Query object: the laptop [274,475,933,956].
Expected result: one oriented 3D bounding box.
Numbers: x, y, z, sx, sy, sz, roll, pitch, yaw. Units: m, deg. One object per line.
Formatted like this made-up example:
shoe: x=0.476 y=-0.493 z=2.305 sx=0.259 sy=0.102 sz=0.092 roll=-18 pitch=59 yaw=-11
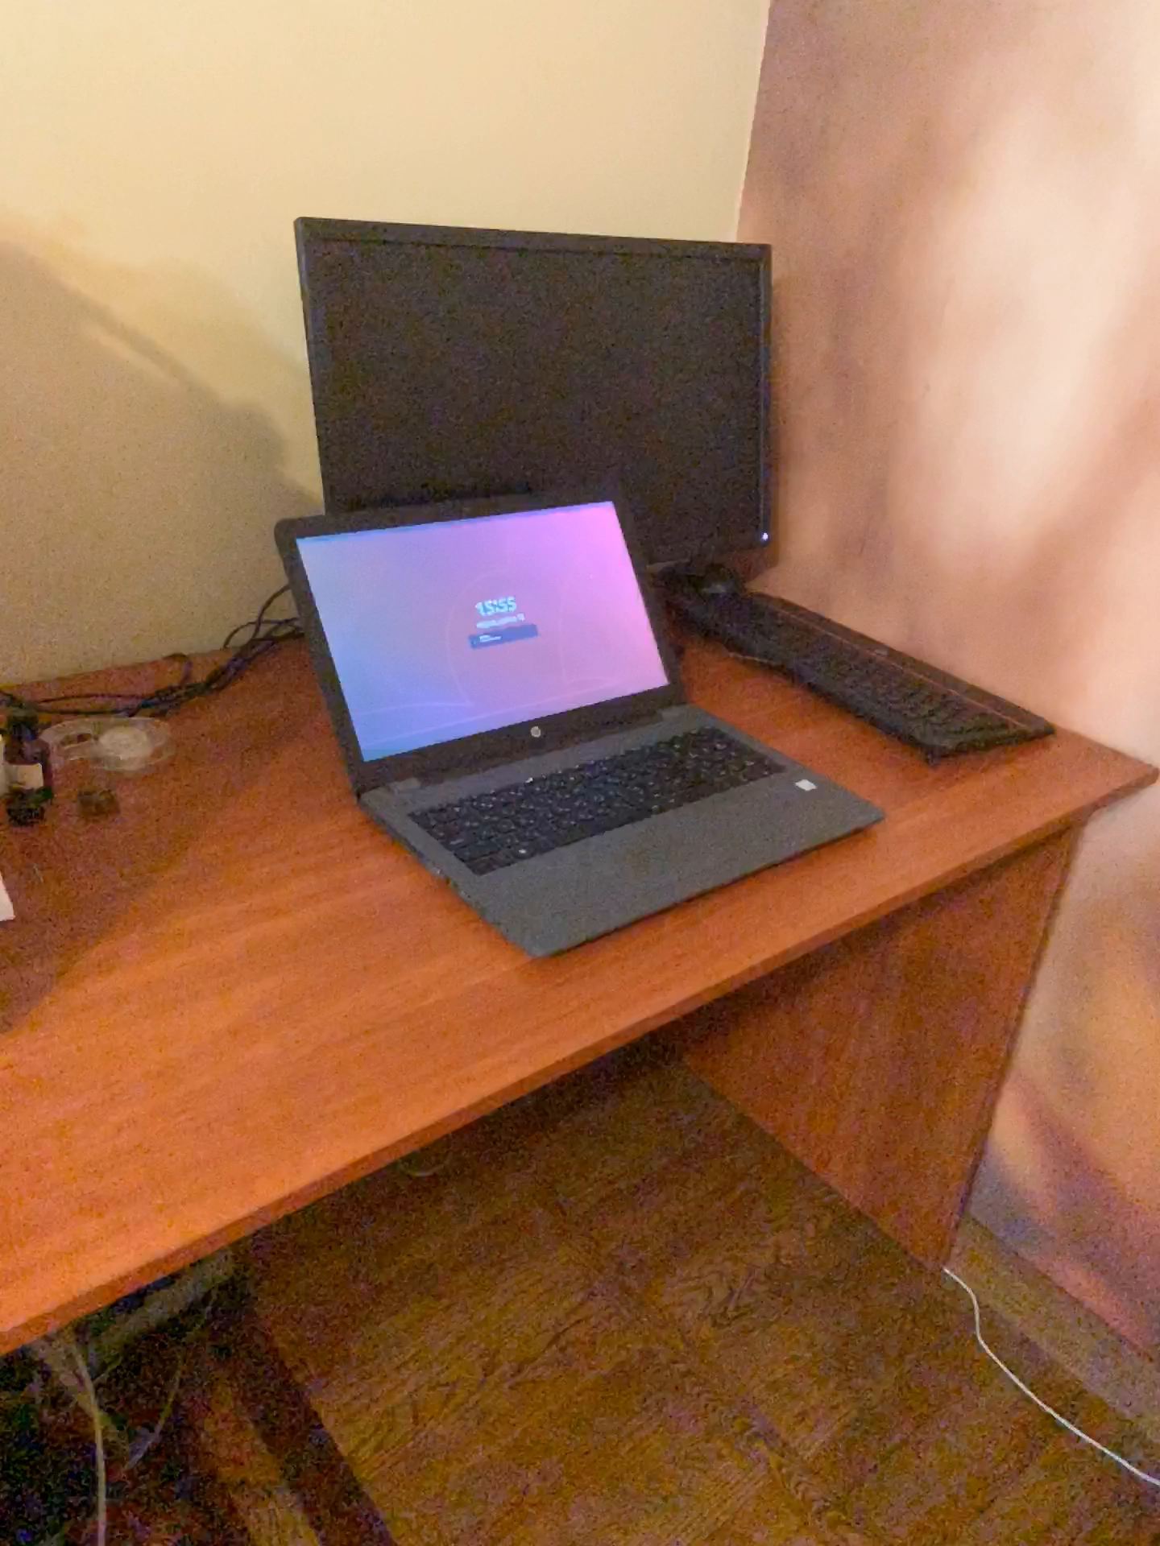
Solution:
laptop: x=0.006 y=-0.086 z=0.963 sx=0.367 sy=0.181 sz=0.375 roll=-17 pitch=36 yaw=-36
